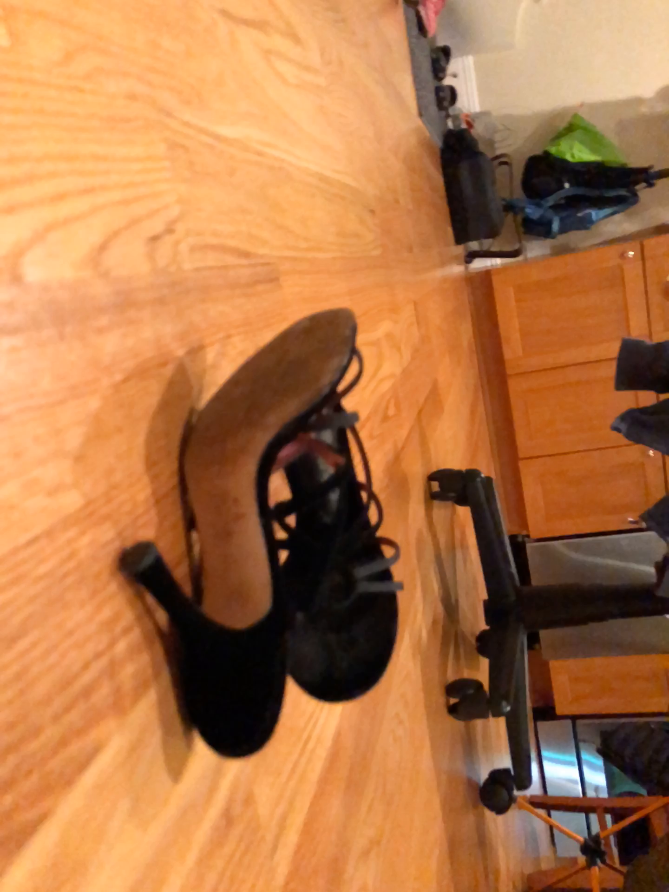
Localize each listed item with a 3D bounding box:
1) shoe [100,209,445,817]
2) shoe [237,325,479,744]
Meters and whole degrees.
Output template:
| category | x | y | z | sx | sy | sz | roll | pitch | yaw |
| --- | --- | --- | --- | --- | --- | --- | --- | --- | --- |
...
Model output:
| category | x | y | z | sx | sy | sz | roll | pitch | yaw |
| --- | --- | --- | --- | --- | --- | --- | --- | --- | --- |
| shoe | -0.019 | 0.026 | 0.316 | 0.082 | 0.104 | 0.236 | 58 | 28 | -62 |
| shoe | 0.015 | 0.056 | 0.427 | 0.102 | 0.104 | 0.216 | 52 | 33 | -61 |
